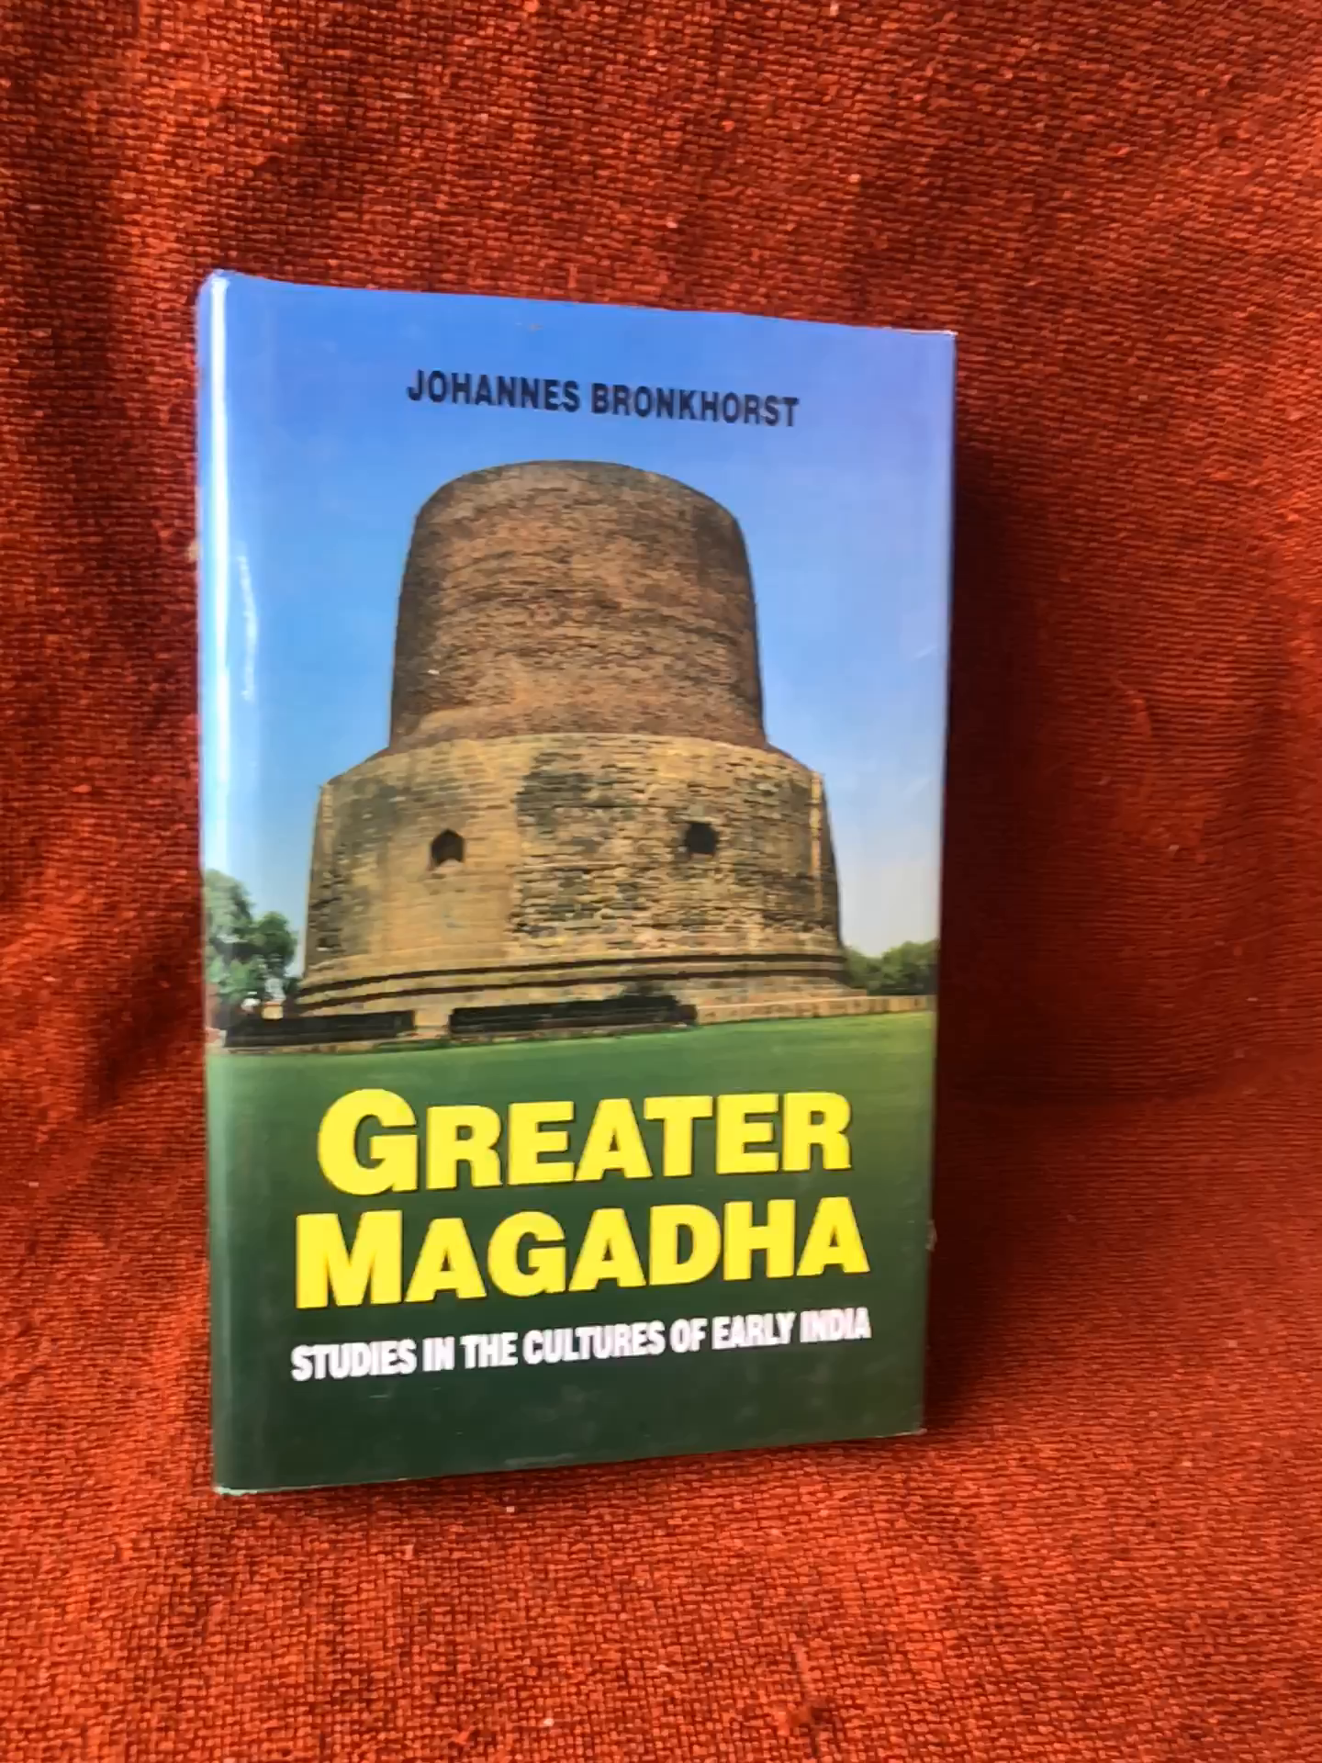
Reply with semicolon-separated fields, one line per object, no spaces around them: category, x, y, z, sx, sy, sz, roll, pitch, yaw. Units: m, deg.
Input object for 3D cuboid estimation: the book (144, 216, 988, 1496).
book;-0.018;-0.002;0.283;0.150;0.220;0.030;0;5;-13
